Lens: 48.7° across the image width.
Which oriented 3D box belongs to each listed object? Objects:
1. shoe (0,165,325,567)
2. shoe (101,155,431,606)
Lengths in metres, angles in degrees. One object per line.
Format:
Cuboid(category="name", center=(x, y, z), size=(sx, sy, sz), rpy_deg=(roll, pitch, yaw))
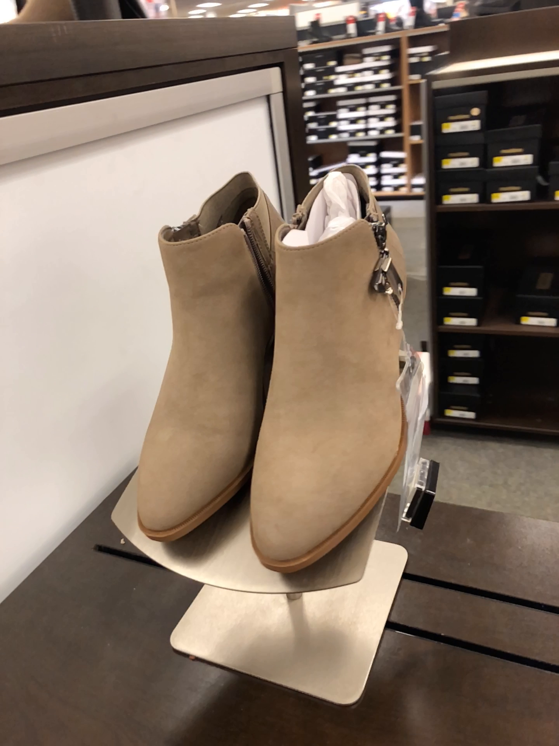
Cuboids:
Cuboid(category="shoe", center=(-0.058, -0.022, 0.409), size=(0.094, 0.152, 0.231), rpy_deg=(4, 36, 22))
Cuboid(category="shoe", center=(0.022, -0.018, 0.374), size=(0.094, 0.153, 0.241), rpy_deg=(4, 34, 22))
